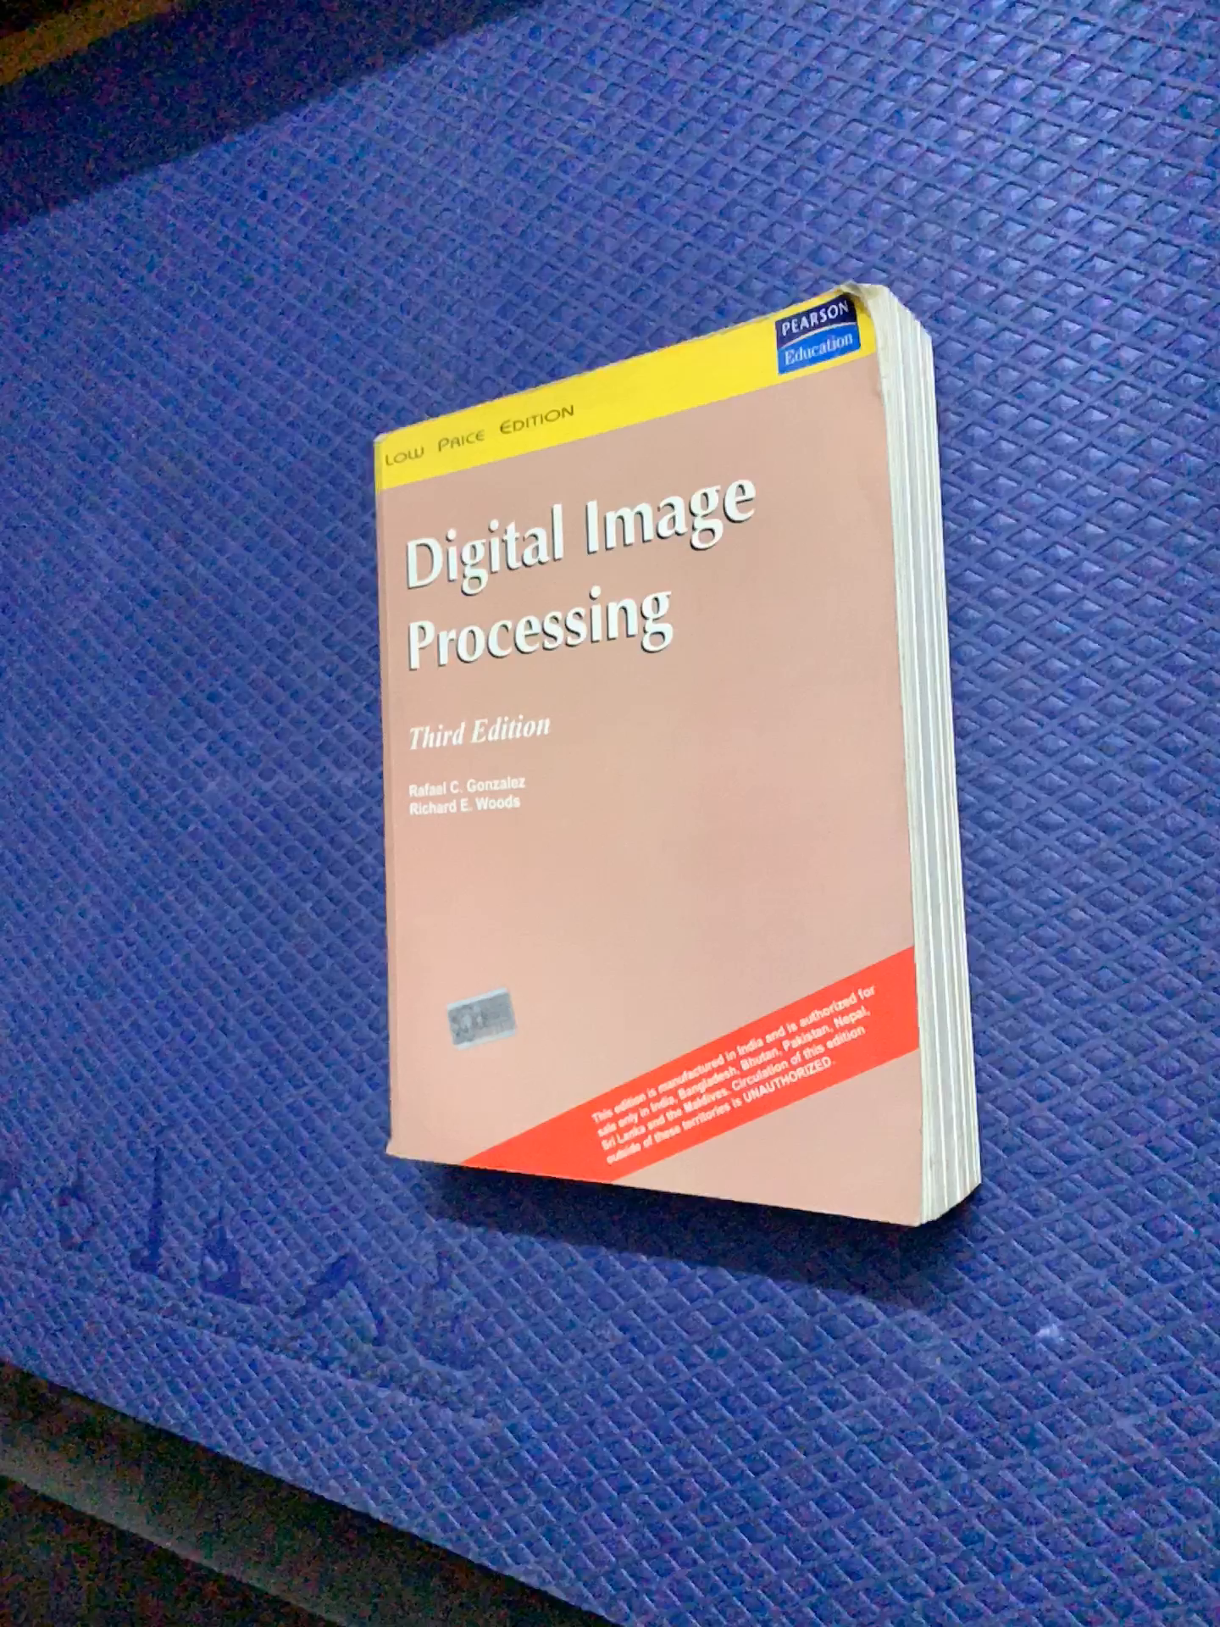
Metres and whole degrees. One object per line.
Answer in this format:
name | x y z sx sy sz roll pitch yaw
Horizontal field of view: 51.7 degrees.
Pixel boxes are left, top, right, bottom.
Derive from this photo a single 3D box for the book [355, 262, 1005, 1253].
book | 0.011 -0.010 0.350 0.175 0.045 0.225 -3 86 32
